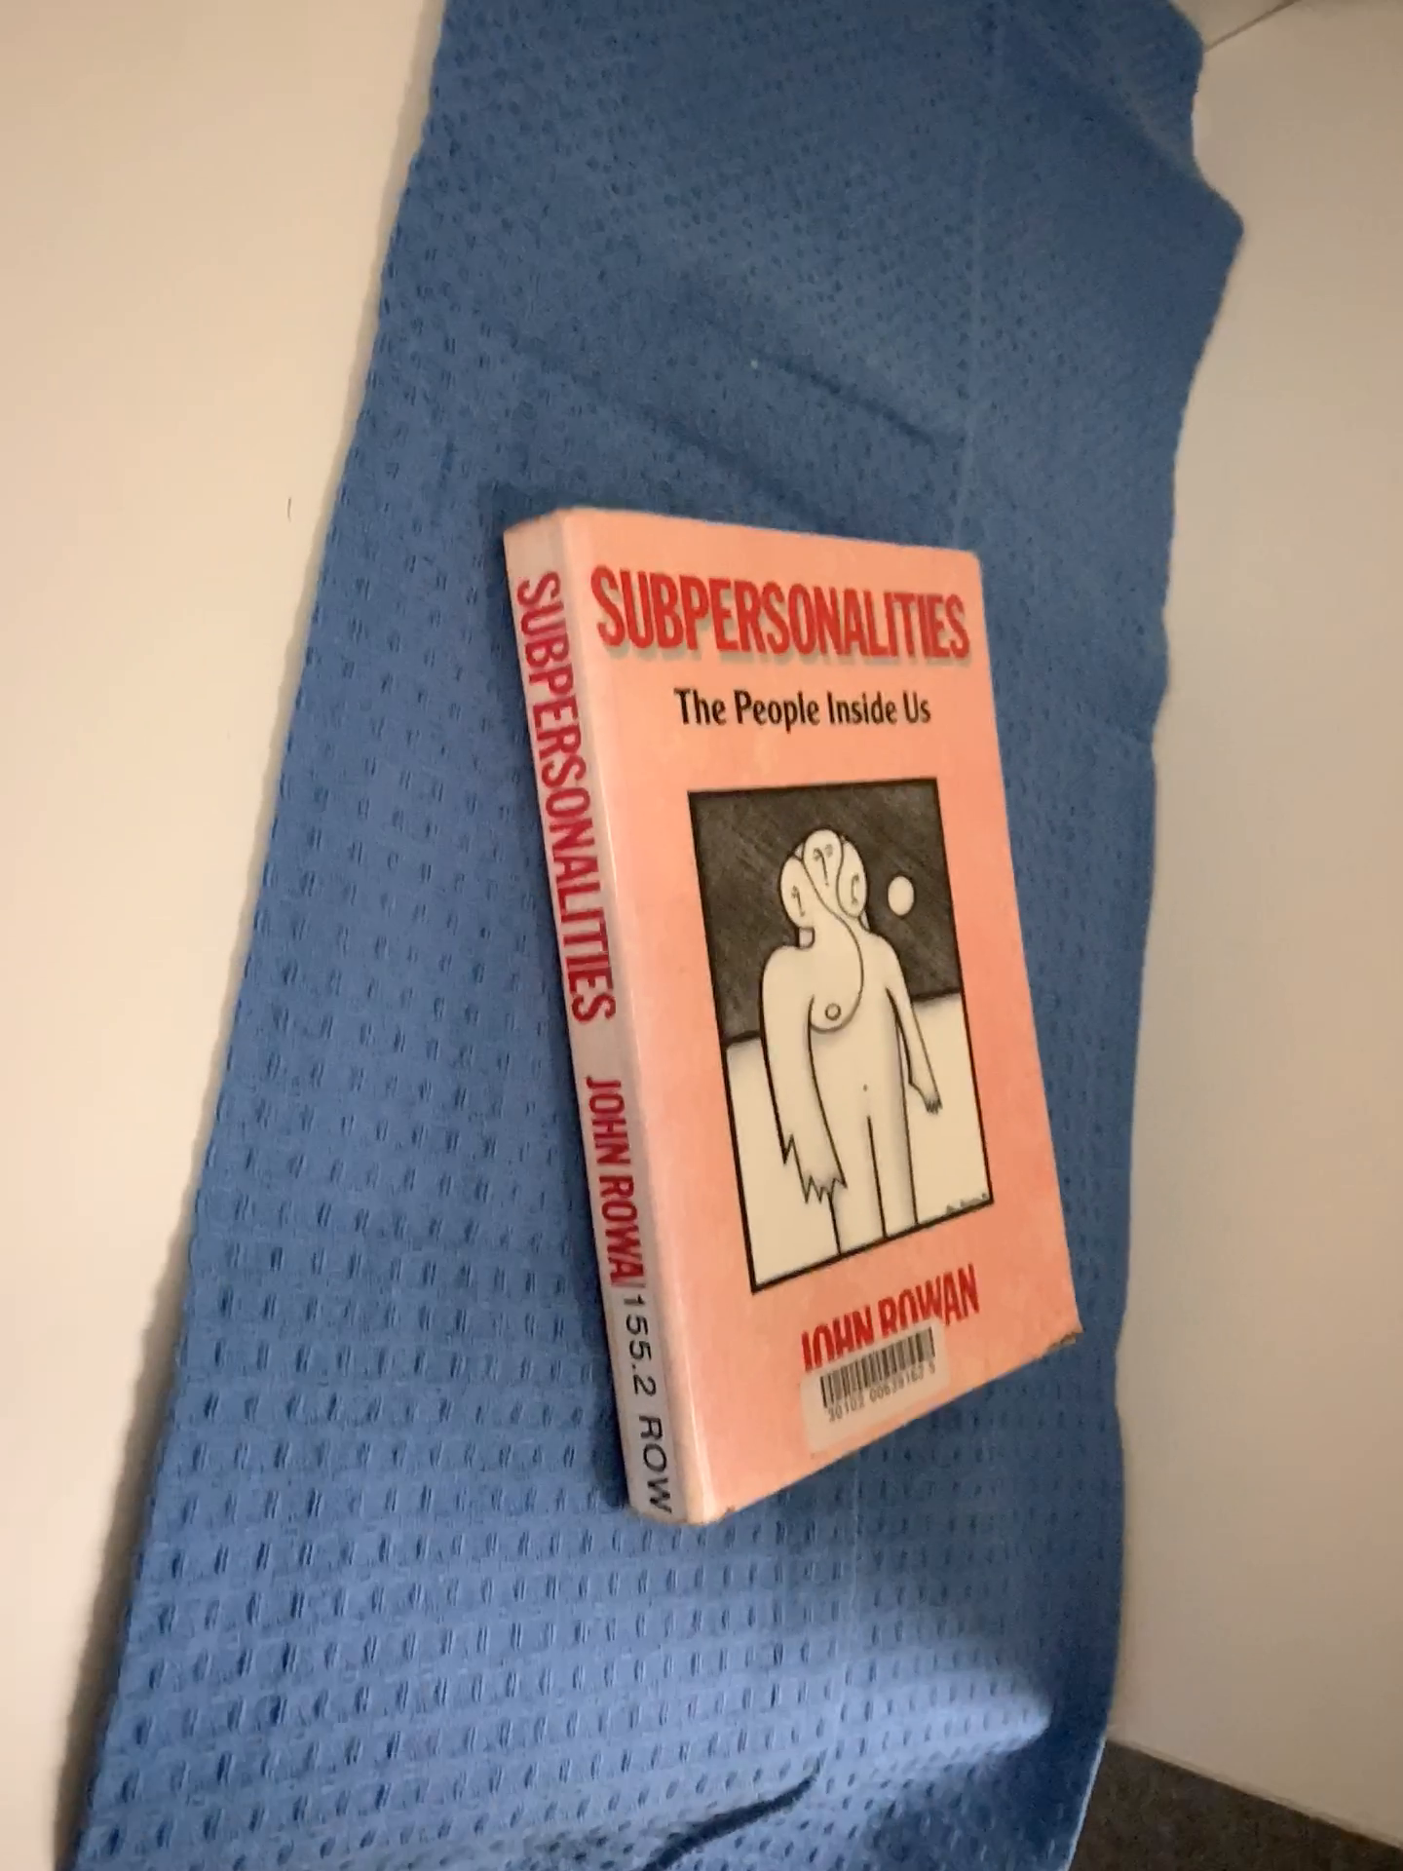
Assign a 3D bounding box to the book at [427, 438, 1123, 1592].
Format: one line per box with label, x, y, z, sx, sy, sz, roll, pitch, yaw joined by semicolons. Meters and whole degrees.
book;0.028;0.009;0.355;0.161;0.040;0.230;-8;91;-42
